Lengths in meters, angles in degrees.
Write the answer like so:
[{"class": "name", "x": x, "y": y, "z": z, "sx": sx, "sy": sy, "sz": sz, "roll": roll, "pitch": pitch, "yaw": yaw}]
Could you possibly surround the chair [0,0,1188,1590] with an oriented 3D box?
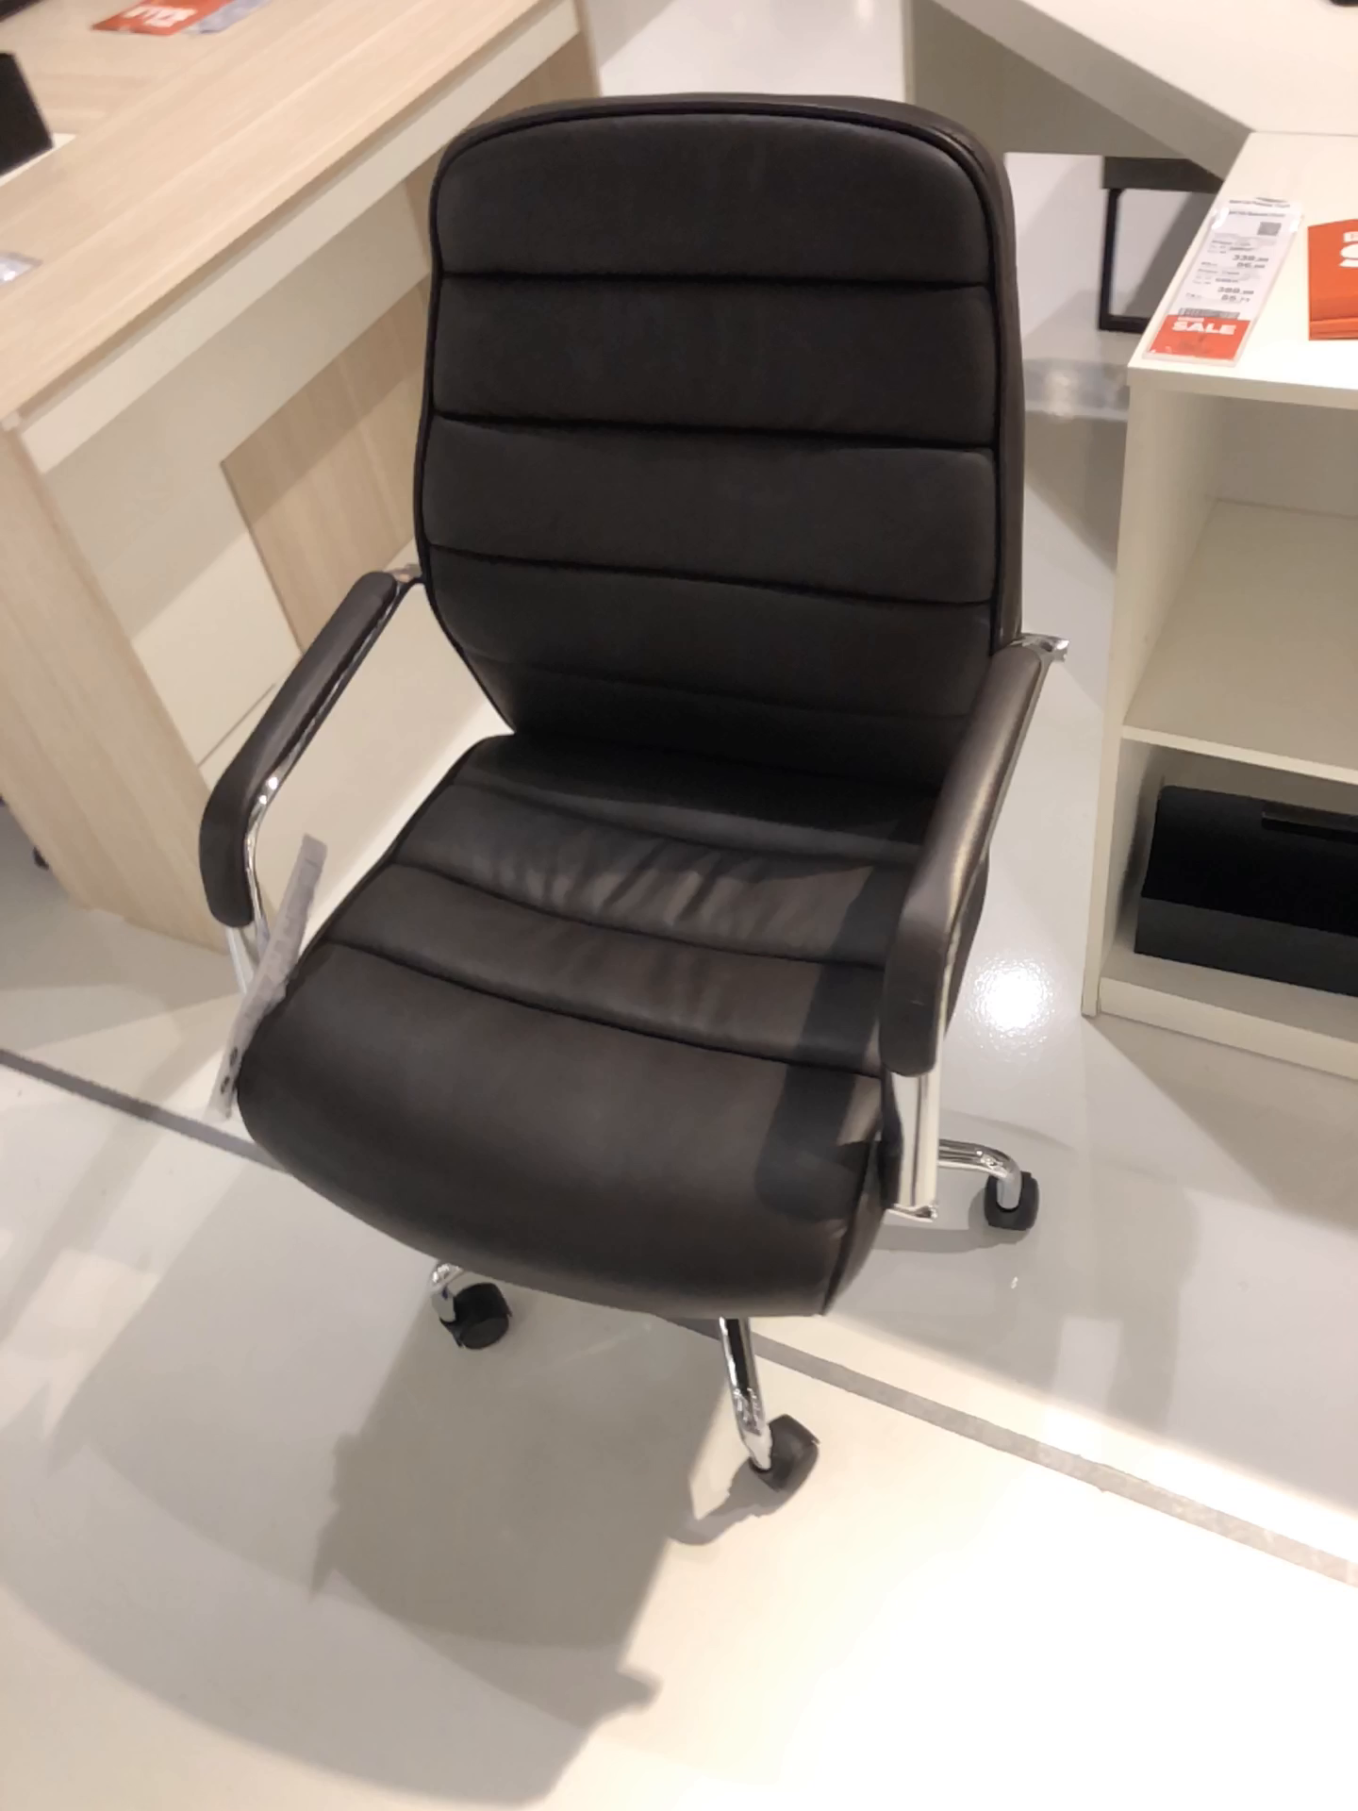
[{"class": "chair", "x": -0.050, "y": -0.040, "z": 1.129, "sx": 0.651, "sy": 0.973, "sz": 0.573, "roll": 12, "pitch": 52, "yaw": 21}]
